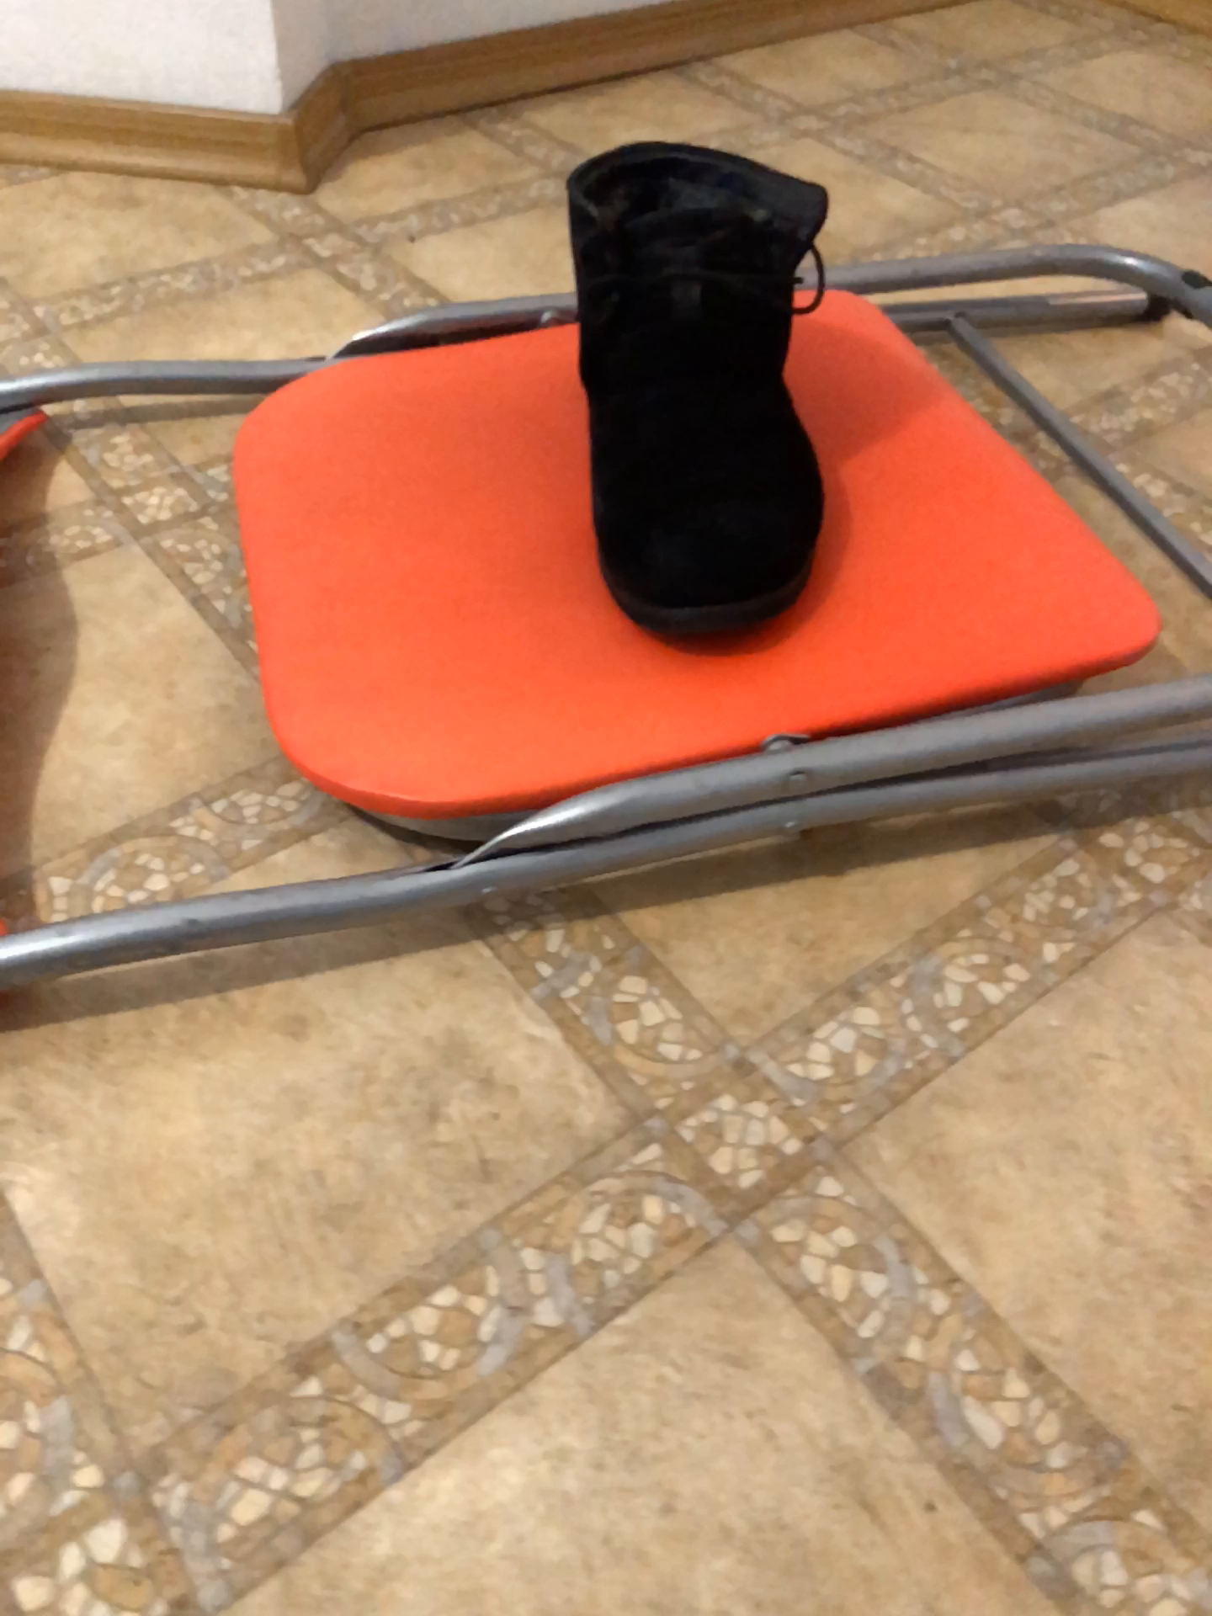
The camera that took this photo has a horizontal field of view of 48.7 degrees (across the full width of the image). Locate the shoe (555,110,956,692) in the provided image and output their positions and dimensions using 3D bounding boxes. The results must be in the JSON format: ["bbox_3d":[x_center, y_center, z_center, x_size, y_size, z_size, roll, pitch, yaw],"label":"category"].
[{"bbox_3d":[0.046,-0.193,0.594,0.110,0.129,0.272,-3,46,-7],"label":"shoe"}]
